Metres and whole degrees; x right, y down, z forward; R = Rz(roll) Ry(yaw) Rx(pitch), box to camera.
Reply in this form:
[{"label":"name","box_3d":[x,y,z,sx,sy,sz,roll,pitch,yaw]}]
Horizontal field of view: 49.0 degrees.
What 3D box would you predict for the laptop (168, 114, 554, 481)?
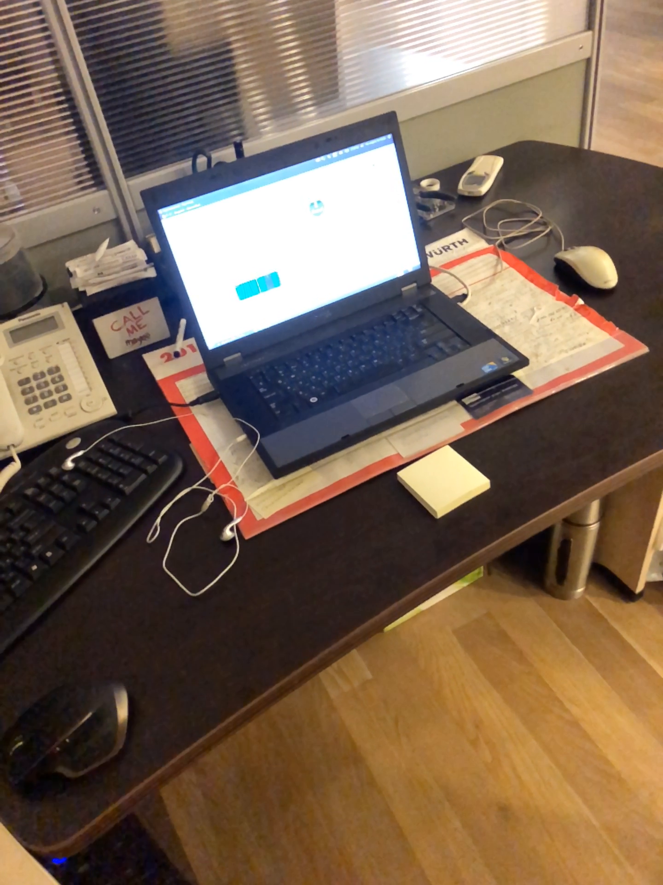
[{"label":"laptop","box_3d":[0.030,-0.175,0.806,0.317,0.209,0.256,-25,45,-14]}]
